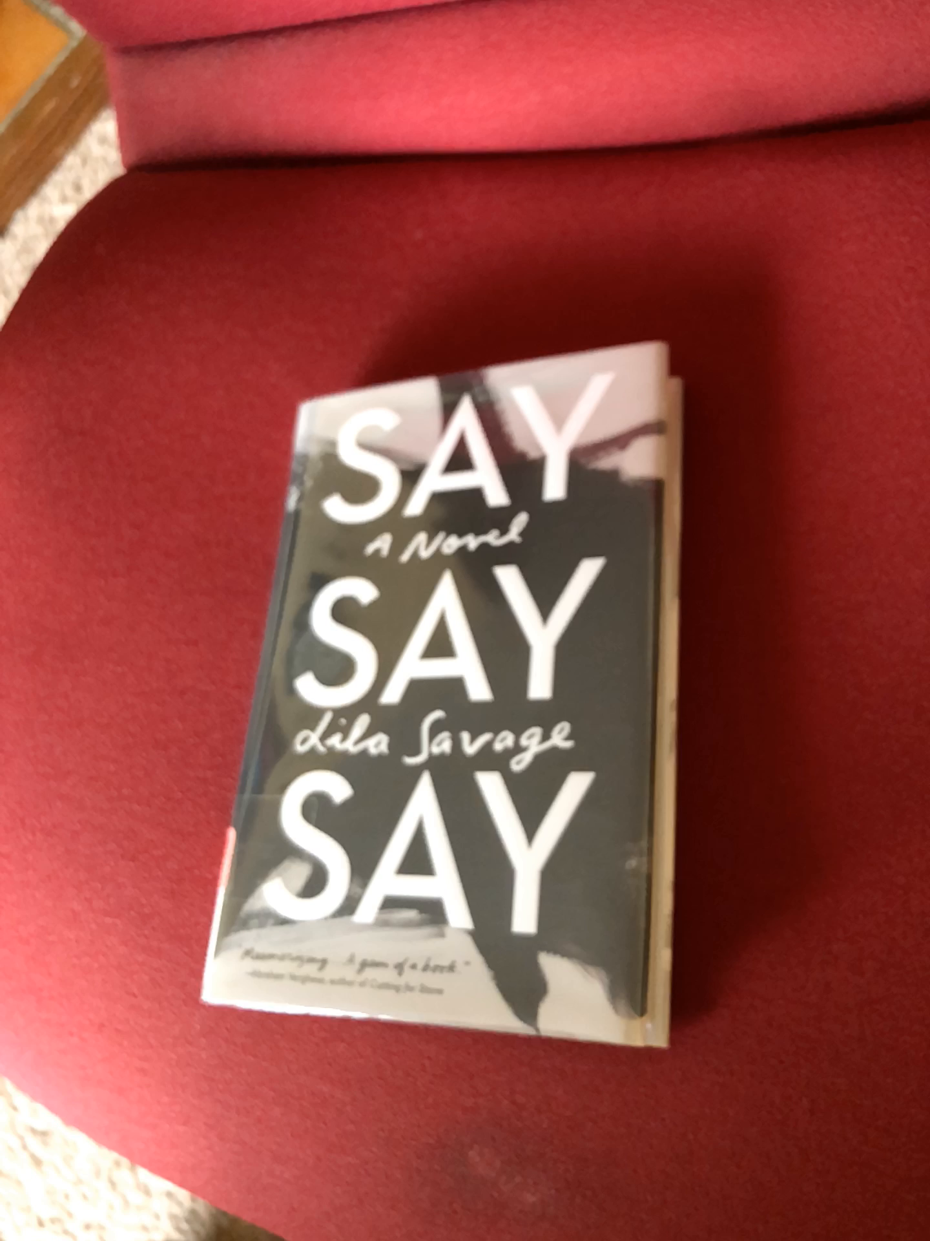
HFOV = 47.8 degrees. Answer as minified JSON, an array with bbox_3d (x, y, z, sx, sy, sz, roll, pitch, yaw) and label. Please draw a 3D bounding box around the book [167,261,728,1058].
[{"bbox_3d":[-0.002,0.009,0.315,0.150,0.040,0.210,-3,73,23],"label":"book"}]
